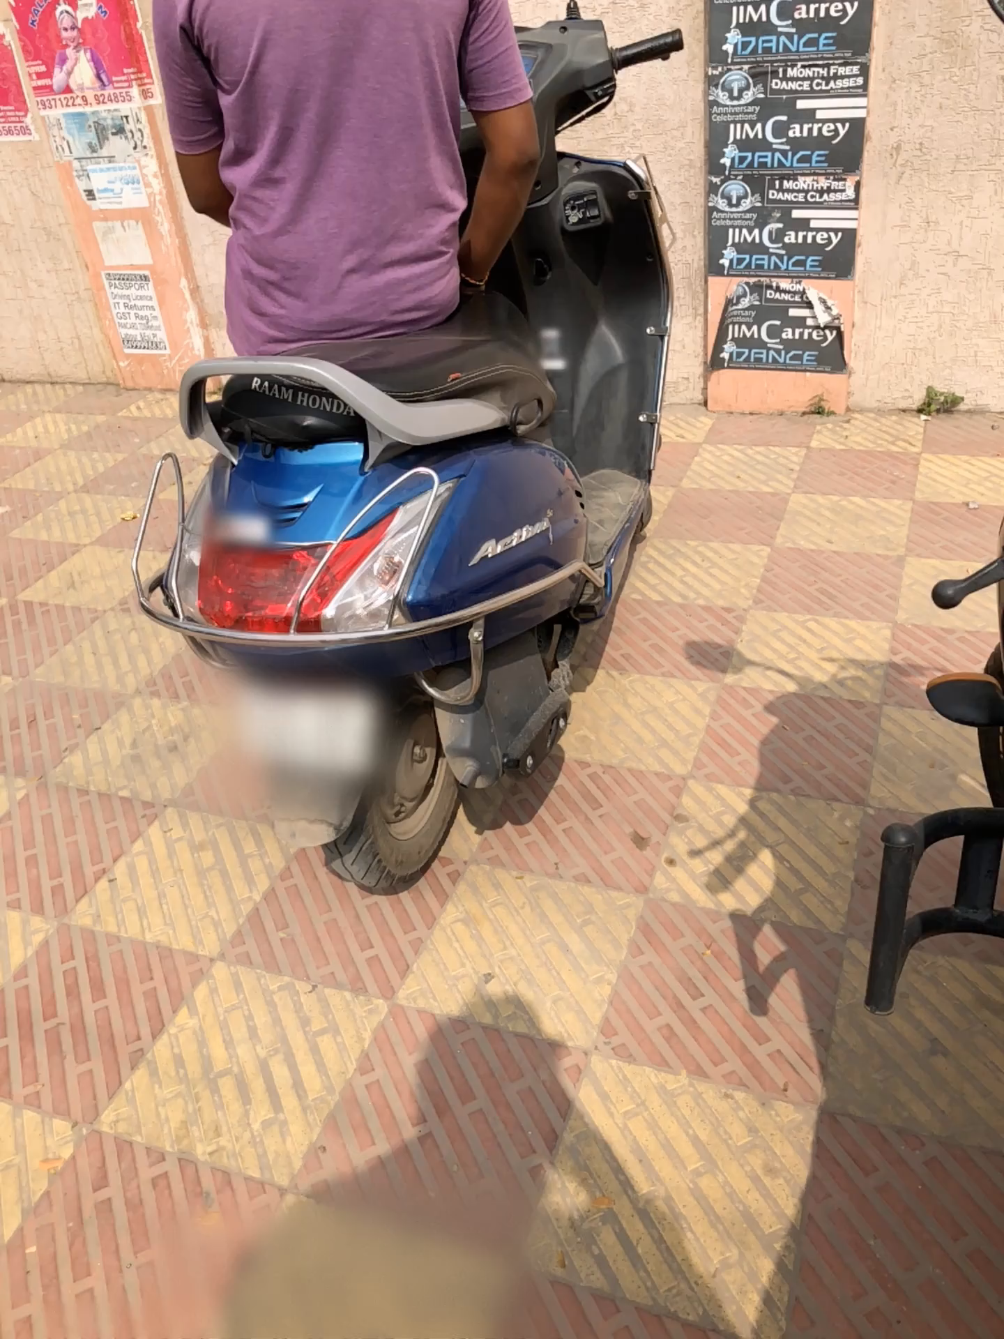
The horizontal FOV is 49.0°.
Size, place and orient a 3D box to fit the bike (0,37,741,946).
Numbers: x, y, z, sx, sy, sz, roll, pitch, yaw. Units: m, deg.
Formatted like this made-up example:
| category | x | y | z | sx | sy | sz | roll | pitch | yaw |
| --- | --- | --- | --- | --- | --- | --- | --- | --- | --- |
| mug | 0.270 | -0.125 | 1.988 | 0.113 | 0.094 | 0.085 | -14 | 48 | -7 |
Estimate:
| category | x | y | z | sx | sy | sz | roll | pitch | yaw |
| --- | --- | --- | --- | --- | --- | --- | --- | --- | --- |
| bike | 0.045 | -0.505 | 2.050 | 0.621 | 1.038 | 1.712 | 4 | 33 | 15 |
